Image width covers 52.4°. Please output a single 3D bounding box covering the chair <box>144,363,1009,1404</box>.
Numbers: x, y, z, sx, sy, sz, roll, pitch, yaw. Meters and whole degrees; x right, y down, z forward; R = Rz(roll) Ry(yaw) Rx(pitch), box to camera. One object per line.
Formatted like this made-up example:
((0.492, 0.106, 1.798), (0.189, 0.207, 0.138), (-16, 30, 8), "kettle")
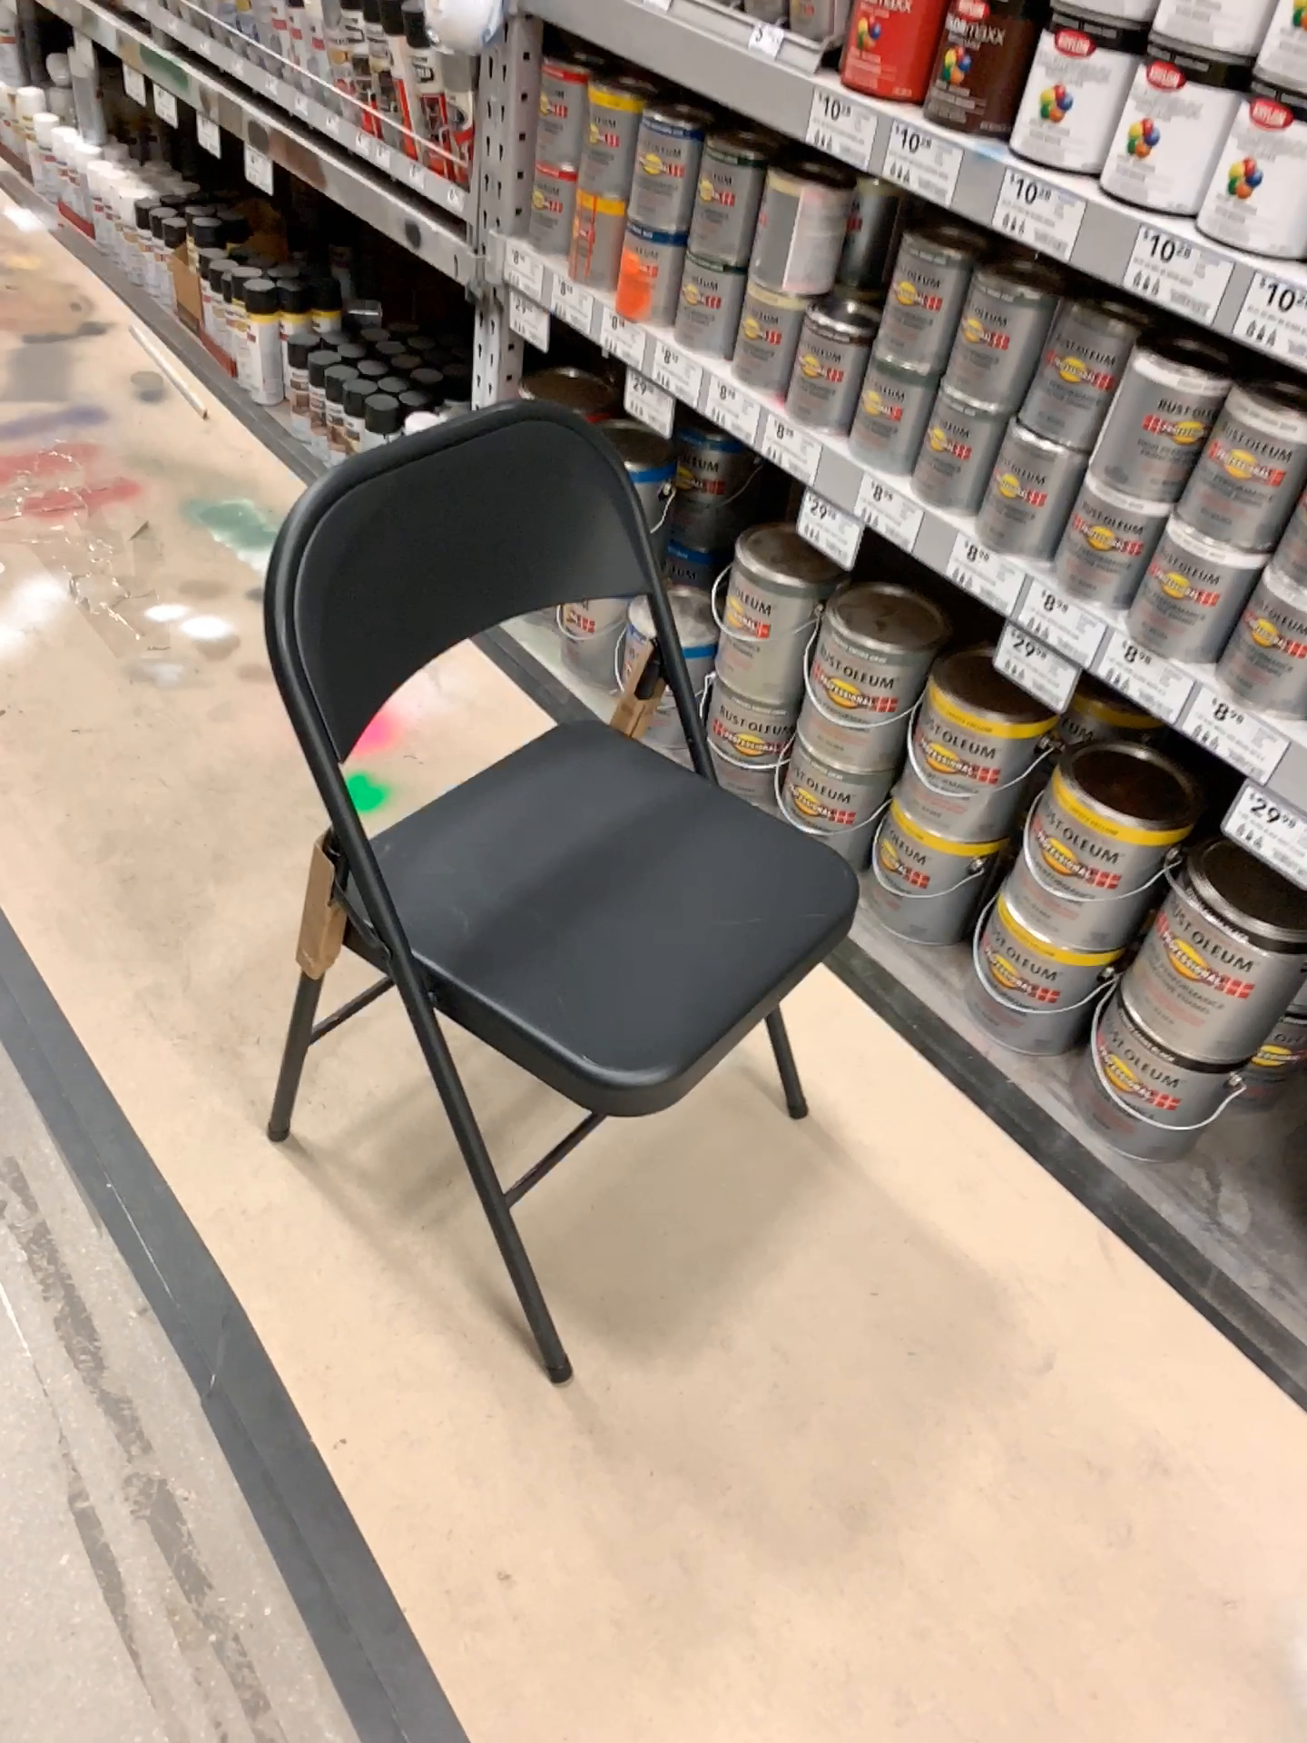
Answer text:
((-0.087, 0.010, 1.238), (0.475, 0.713, 0.453), (33, 47, 24), "chair")
